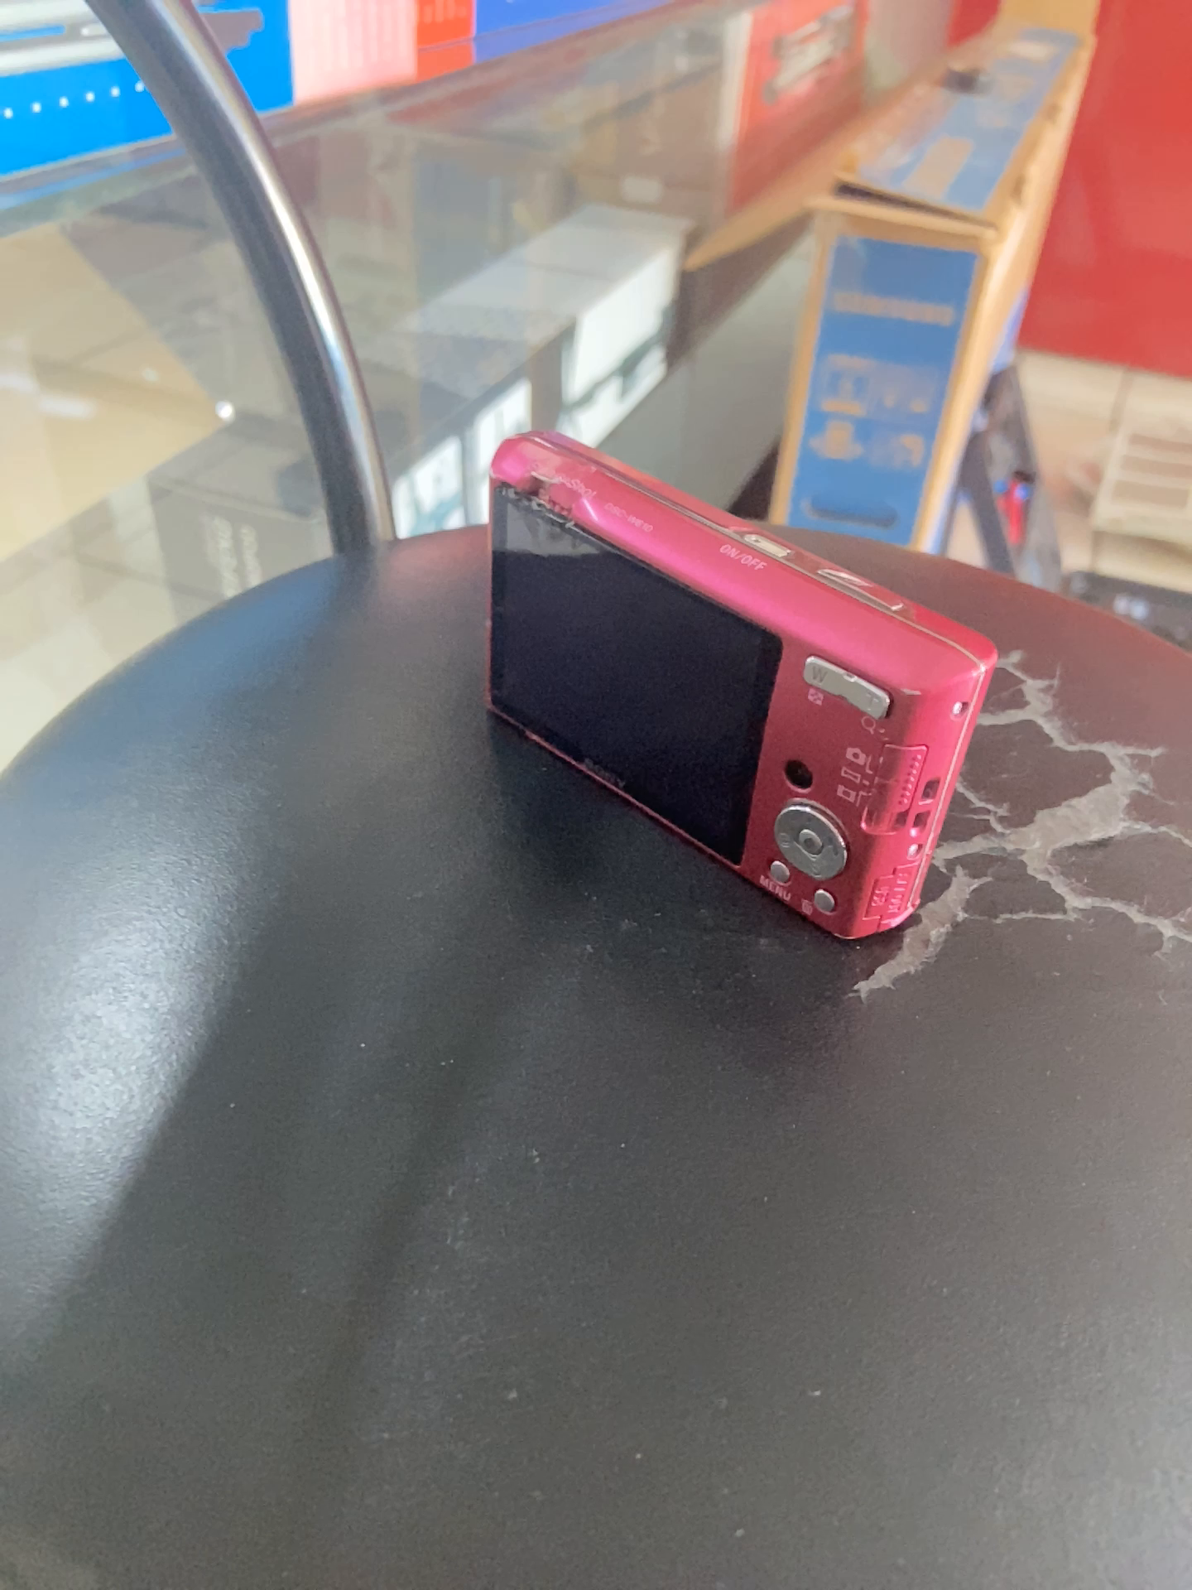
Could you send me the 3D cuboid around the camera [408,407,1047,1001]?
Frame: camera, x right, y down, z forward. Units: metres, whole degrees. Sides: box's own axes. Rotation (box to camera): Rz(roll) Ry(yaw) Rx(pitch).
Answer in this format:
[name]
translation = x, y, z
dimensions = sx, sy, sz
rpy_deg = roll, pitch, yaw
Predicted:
[camera]
translation = 0.014, -0.019, 0.203
dimensions = 0.100, 0.050, 0.030
rpy_deg = 34, 47, 30
